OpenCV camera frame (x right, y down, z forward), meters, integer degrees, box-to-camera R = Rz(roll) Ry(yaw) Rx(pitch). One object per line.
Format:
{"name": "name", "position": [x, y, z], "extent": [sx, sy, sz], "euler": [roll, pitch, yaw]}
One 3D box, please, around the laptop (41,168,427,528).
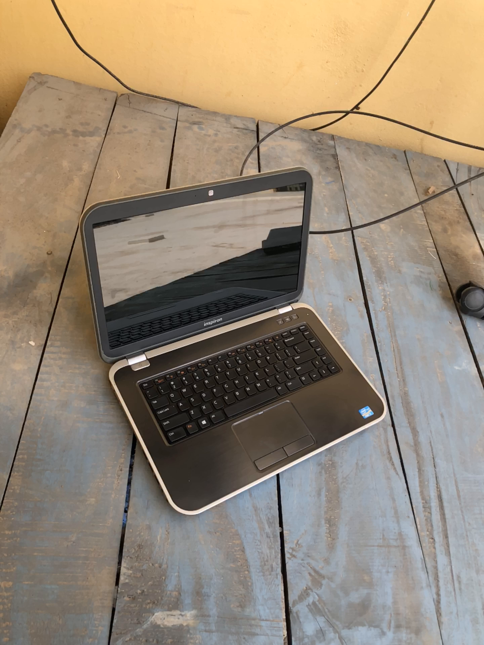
{"name": "laptop", "position": [-0.030, 0.008, 0.717], "extent": [0.353, 0.209, 0.333], "euler": [-19, 58, -27]}
